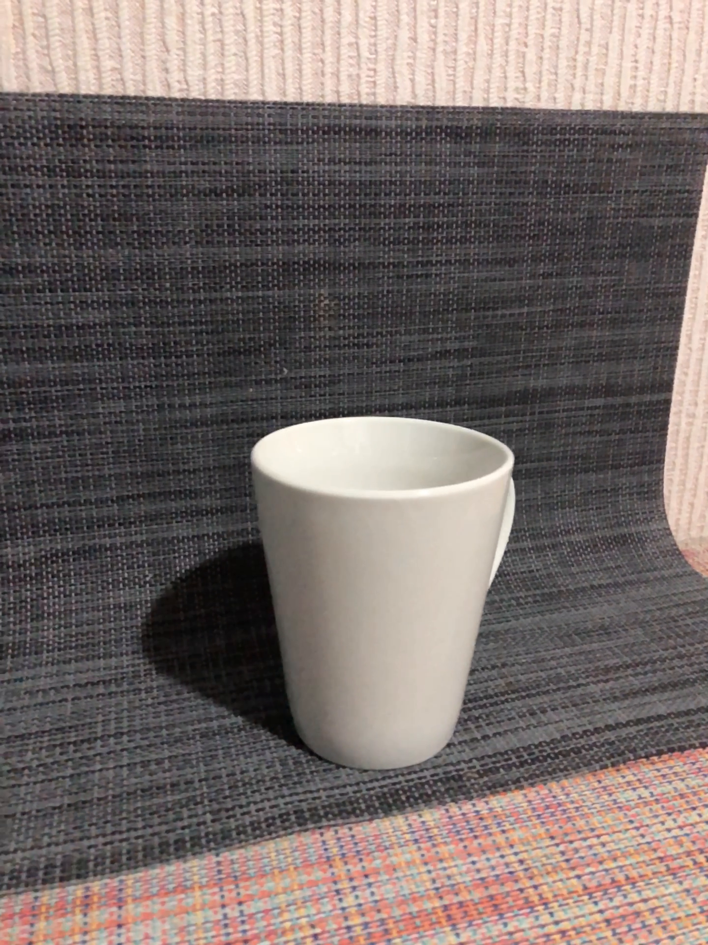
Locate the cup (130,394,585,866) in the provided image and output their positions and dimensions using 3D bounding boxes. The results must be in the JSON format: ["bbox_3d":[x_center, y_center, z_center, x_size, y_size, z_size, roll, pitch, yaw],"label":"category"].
[{"bbox_3d":[0.003,0.037,0.266,0.096,0.096,0.112,16,24,40],"label":"cup"}]
